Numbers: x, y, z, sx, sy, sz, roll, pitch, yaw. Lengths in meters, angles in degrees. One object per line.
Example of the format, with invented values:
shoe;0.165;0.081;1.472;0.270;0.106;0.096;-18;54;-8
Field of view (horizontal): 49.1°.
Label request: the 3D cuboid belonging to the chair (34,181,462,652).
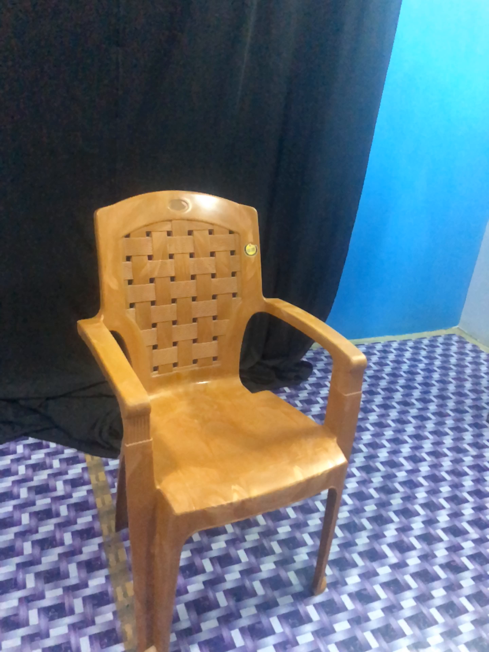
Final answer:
chair;-0.087;0.150;1.200;0.602;0.786;0.661;-6;27;-28
